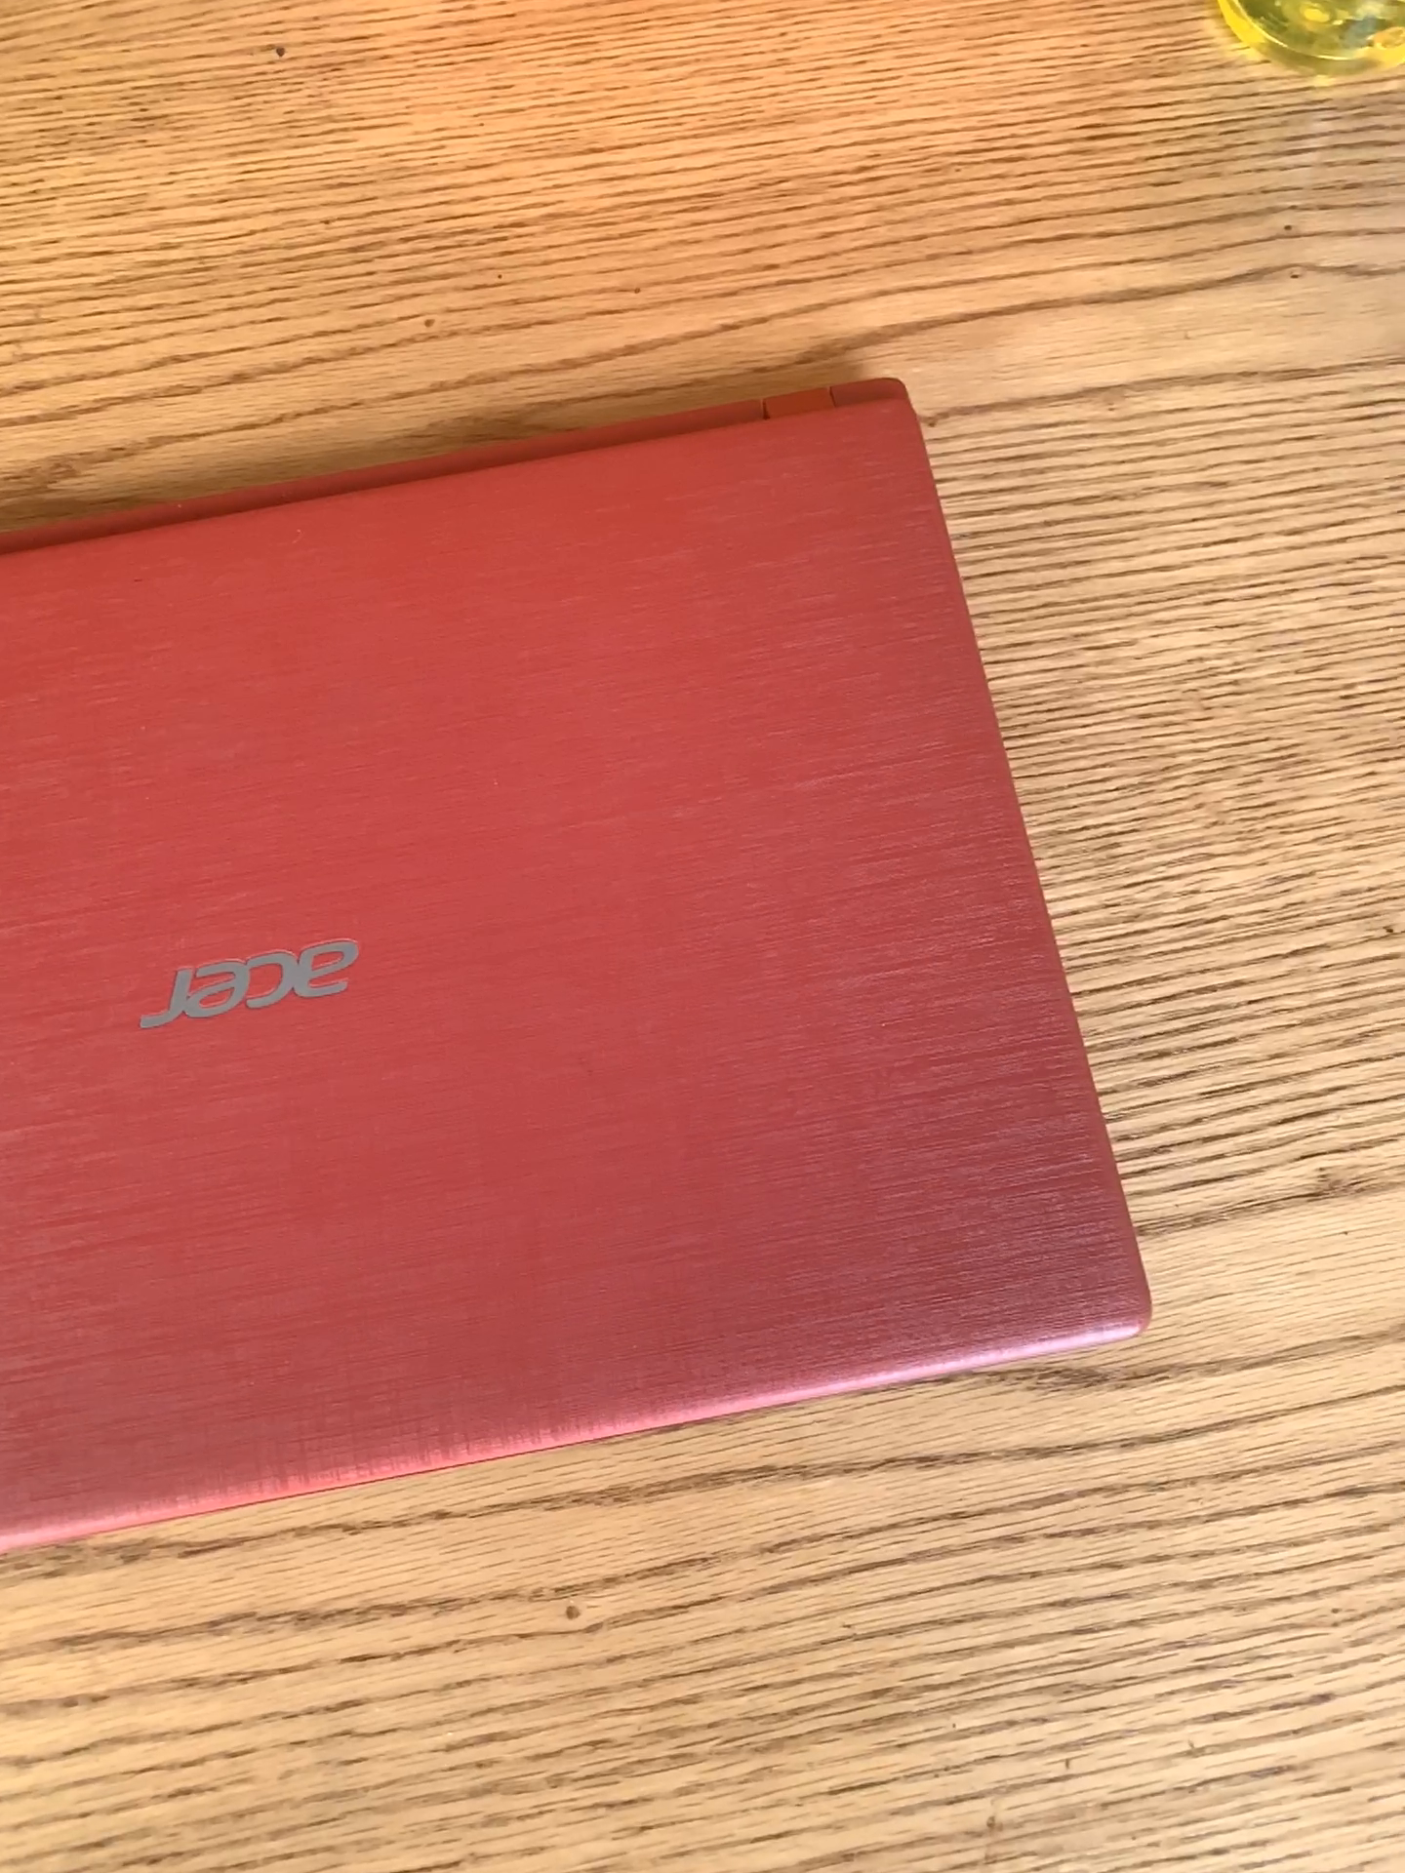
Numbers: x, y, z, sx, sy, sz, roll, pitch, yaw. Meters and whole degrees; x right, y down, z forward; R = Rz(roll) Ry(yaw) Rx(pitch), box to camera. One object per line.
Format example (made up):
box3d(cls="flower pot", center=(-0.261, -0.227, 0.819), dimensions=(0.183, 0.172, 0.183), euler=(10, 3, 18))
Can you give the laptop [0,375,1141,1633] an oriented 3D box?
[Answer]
box3d(cls="laptop", center=(-0.107, 0.004, 0.340), dimensions=(0.362, 0.013, 0.236), euler=(-10, 74, 0))
